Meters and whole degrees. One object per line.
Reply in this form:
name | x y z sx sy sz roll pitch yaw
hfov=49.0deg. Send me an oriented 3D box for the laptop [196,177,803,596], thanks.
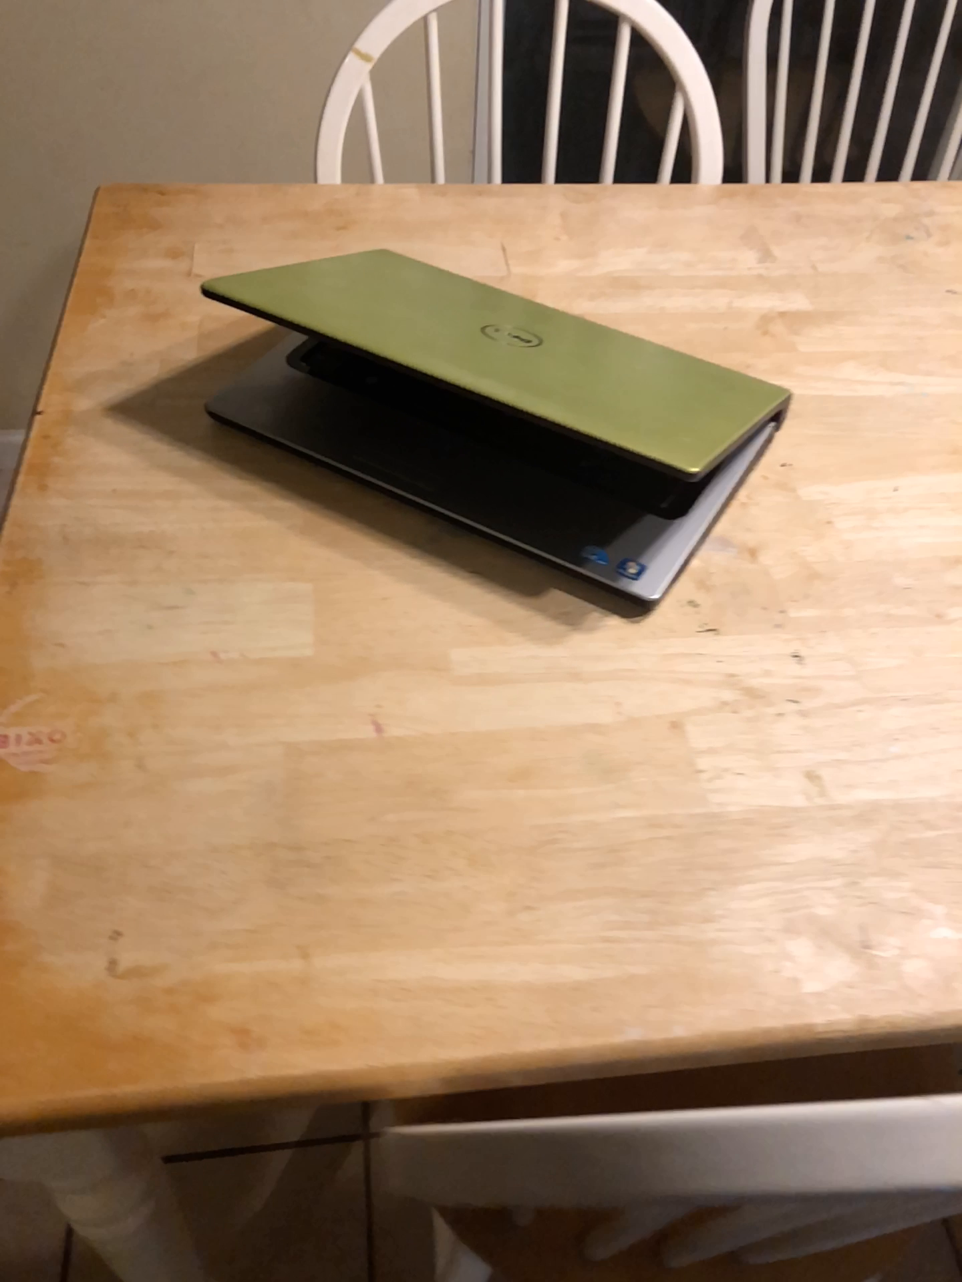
laptop | 0.013 -0.201 0.755 0.359 0.077 0.228 25 53 19
